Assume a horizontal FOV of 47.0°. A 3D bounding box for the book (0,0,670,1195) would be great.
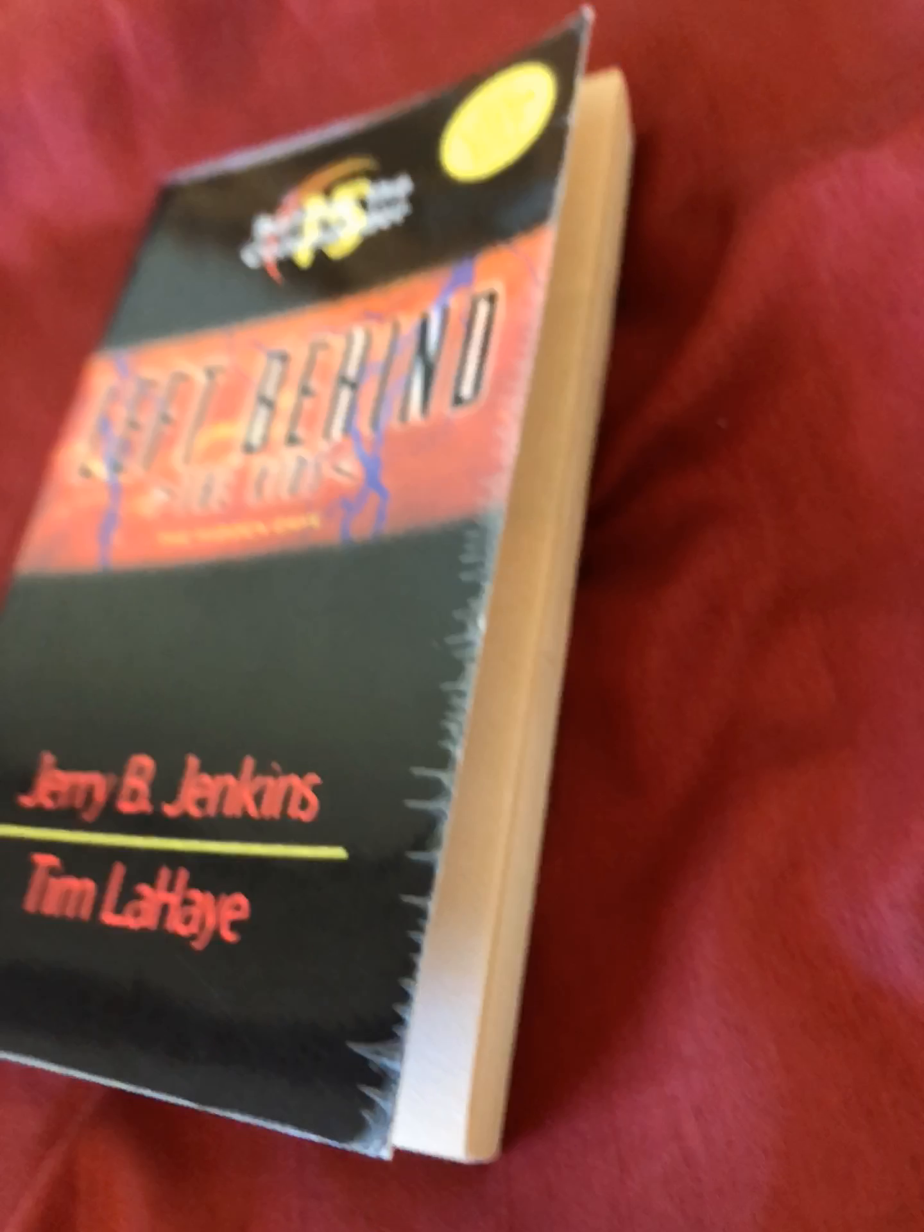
[{"bbox_3d":[-0.033,-0.014,0.173,0.111,0.026,0.170,-2,65,29],"label":"book"}]
